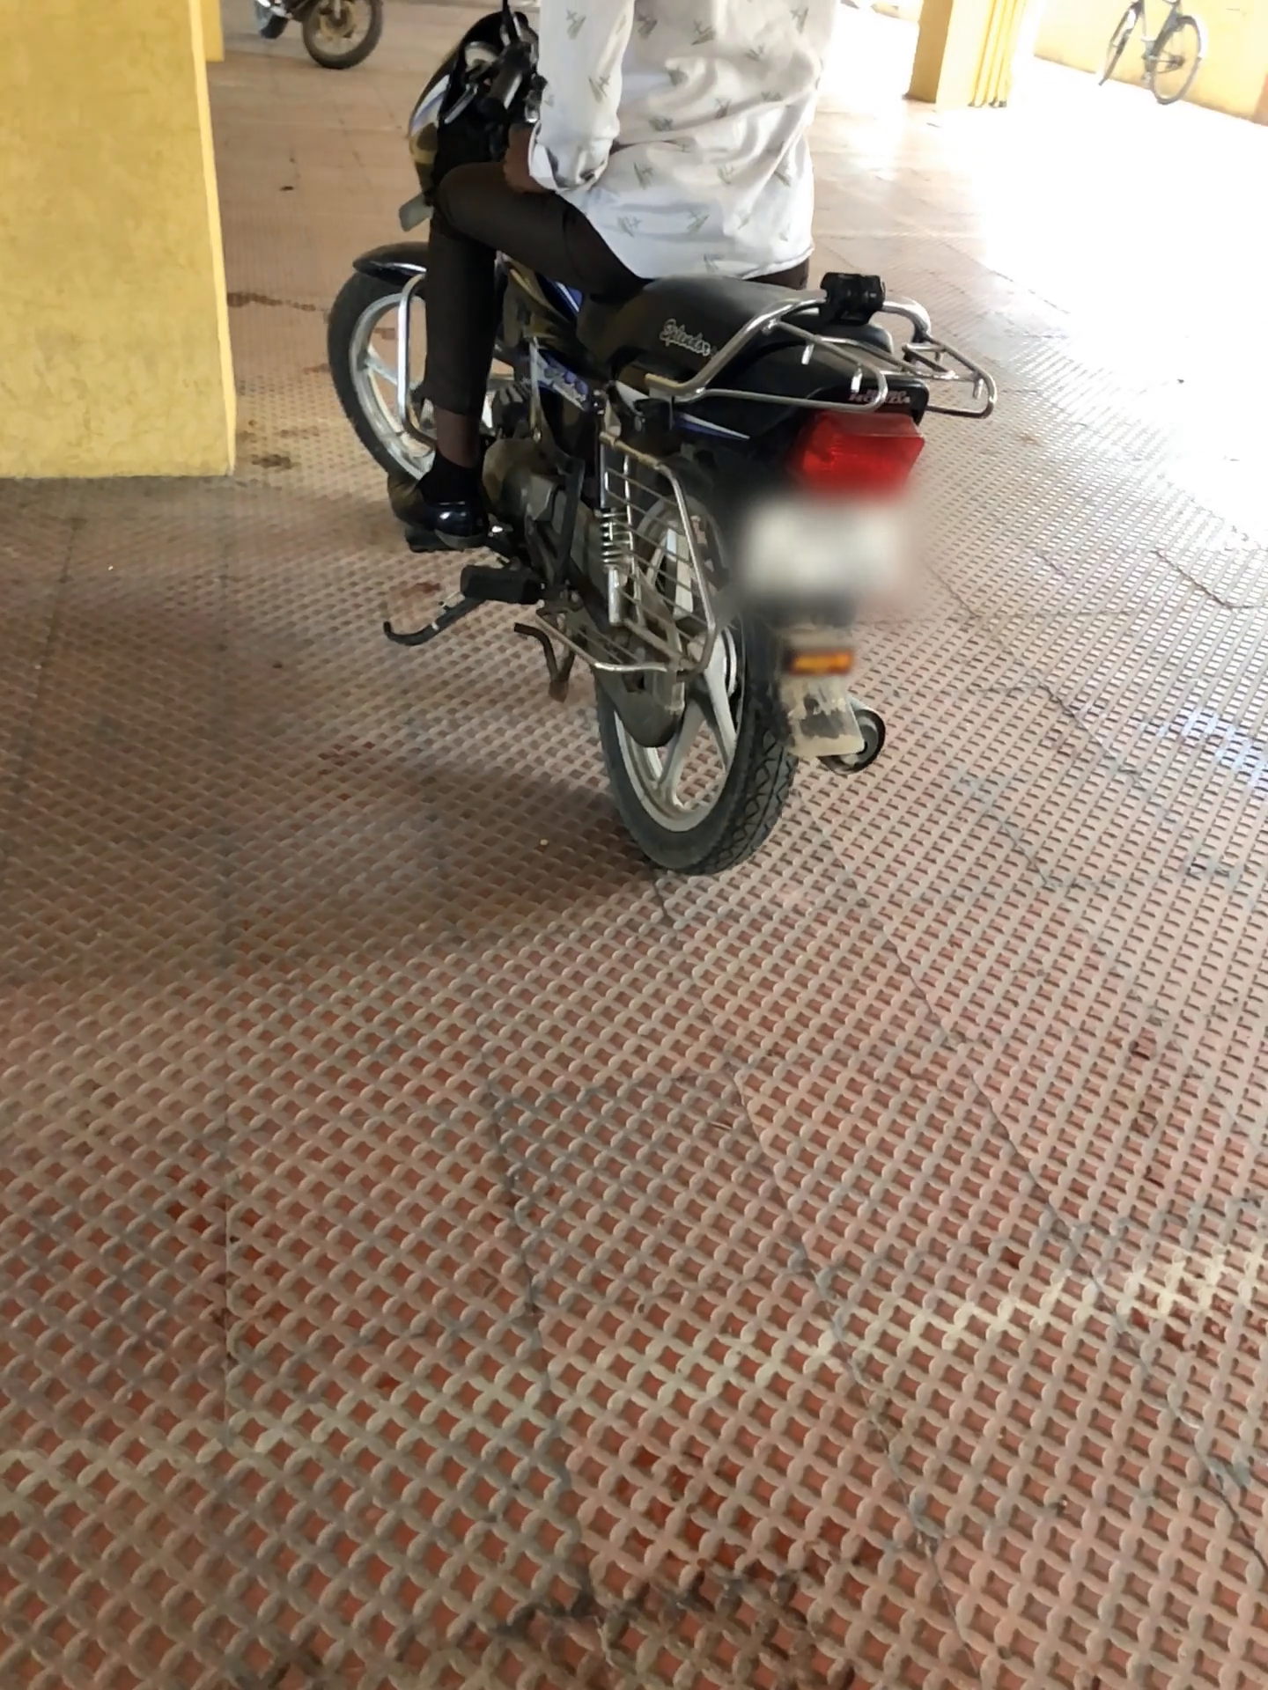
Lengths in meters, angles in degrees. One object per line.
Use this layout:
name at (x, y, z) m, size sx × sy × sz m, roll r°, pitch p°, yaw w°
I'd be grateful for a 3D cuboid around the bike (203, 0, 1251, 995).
bike at (-0.073, -0.824, 2.246) m, size 0.686 × 1.107 × 1.713 m, roll -14°, pitch 41°, yaw -25°
